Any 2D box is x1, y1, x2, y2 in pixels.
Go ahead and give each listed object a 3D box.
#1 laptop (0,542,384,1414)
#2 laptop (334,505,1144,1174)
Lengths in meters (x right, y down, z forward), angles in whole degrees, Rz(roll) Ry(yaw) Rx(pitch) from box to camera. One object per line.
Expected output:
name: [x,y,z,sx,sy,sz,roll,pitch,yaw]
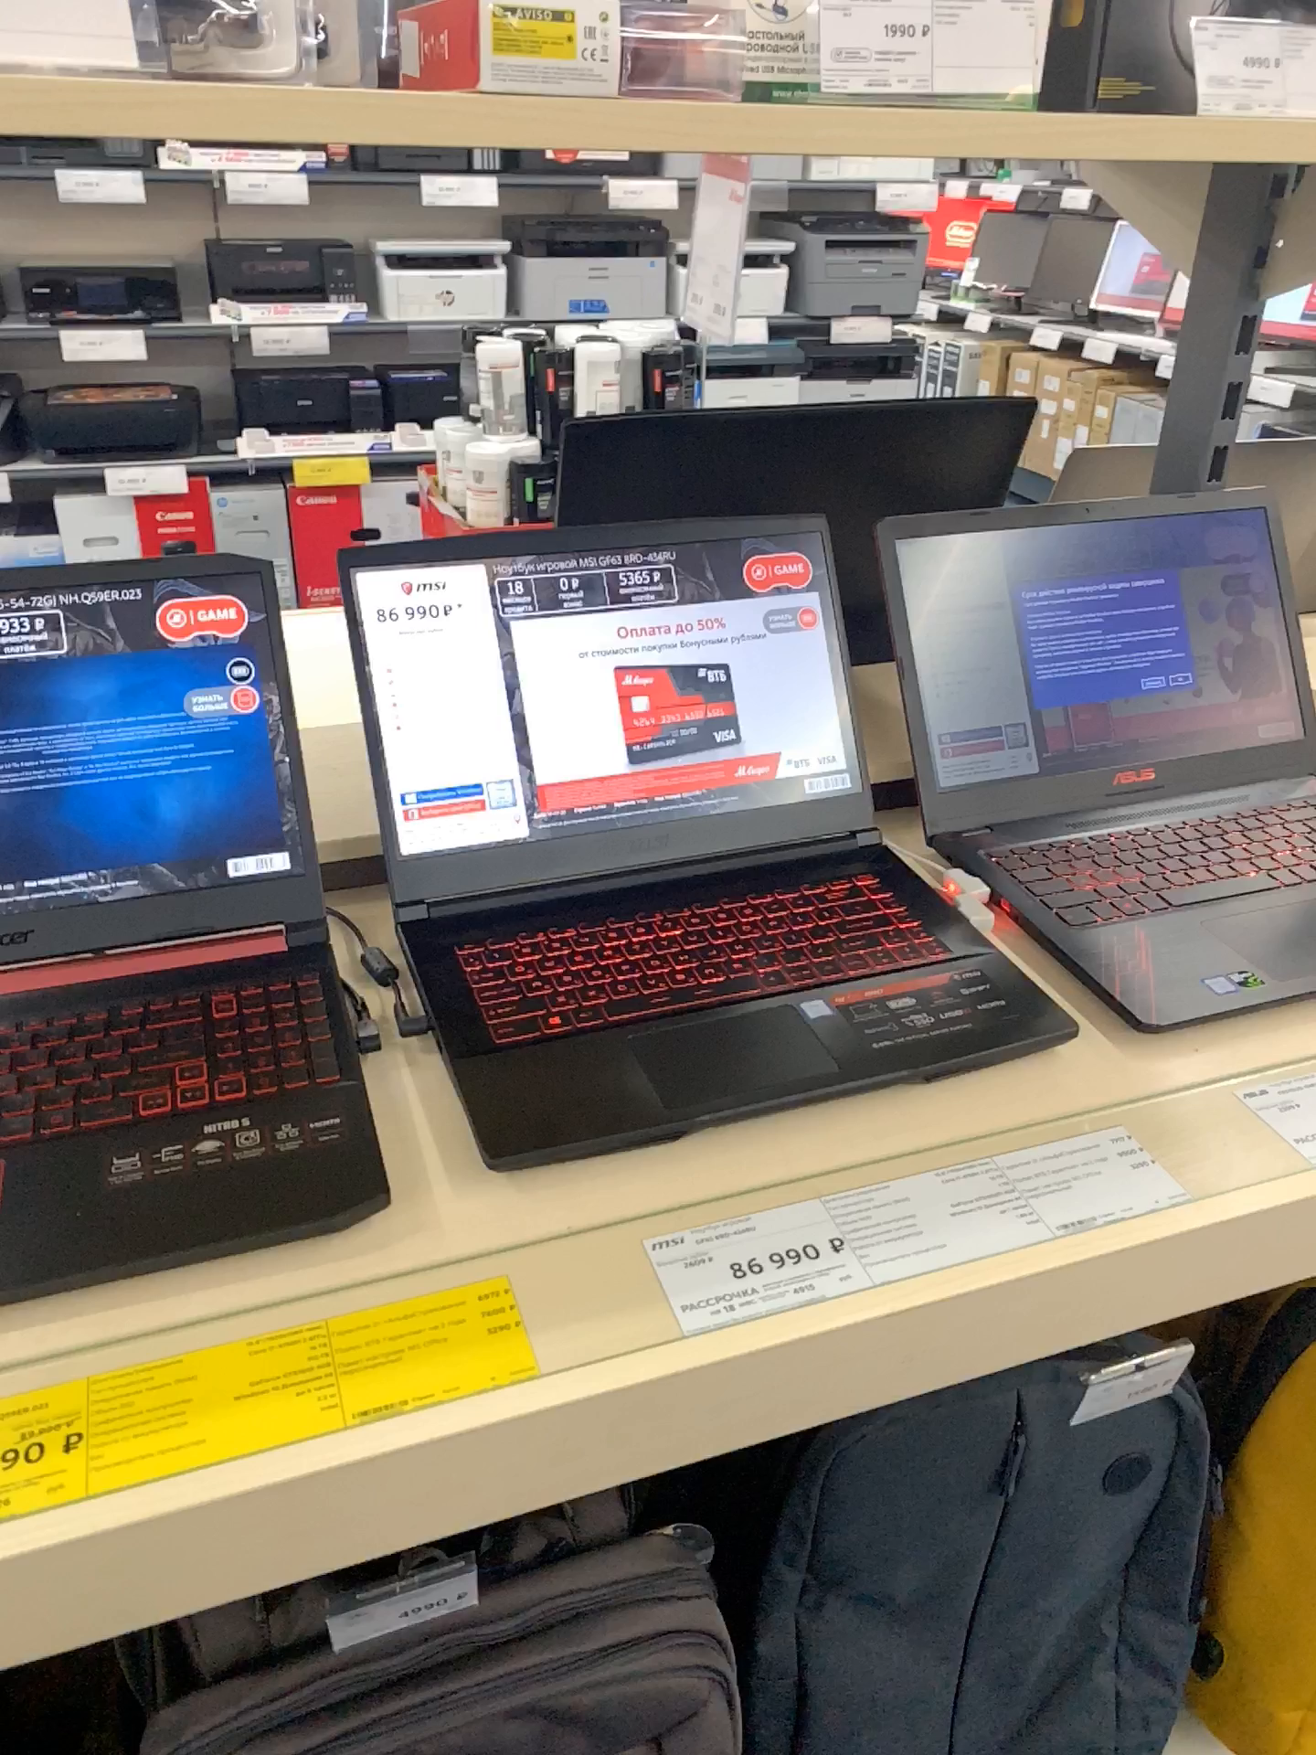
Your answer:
laptop: [-0.338,-0.001,0.679,0.334,0.211,0.373,-8,31,-17]
laptop: [0.018,-0.063,0.821,0.350,0.204,0.371,-9,32,-19]
